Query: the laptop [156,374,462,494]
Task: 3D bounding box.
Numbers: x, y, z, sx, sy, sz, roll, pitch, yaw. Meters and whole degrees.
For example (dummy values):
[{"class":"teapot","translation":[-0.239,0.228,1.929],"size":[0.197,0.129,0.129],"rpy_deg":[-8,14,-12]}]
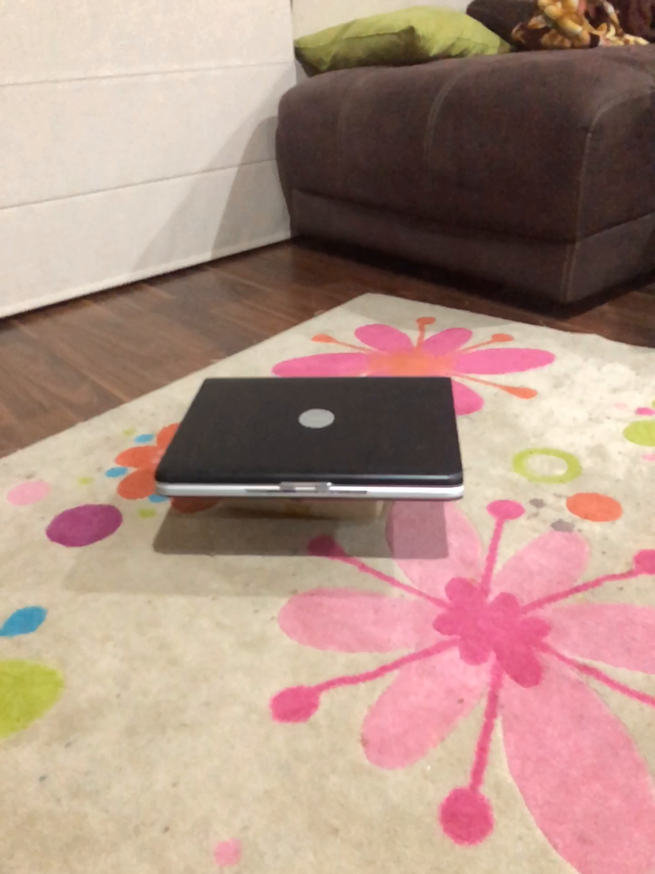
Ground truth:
[{"class":"laptop","translation":[-0.015,-0.010,0.900],"size":[0.353,0.015,0.233],"rpy_deg":[-1,35,9]}]
